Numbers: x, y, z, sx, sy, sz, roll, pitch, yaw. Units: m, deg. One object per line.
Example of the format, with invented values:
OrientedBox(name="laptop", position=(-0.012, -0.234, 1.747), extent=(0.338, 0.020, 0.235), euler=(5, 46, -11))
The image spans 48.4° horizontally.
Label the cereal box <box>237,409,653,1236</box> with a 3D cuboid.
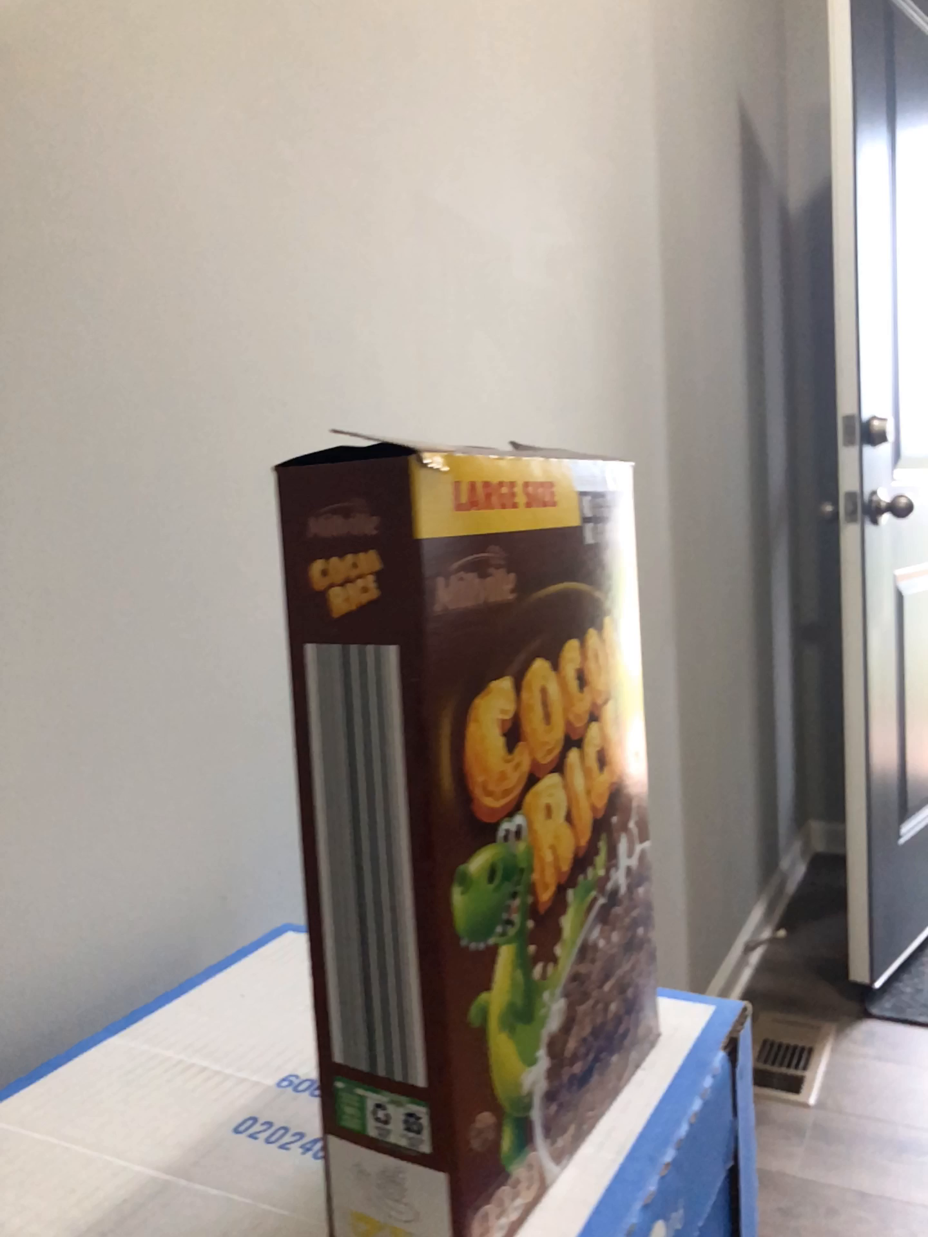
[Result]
OrientedBox(name="cereal box", position=(0.009, 0.071, 0.422), extent=(0.060, 0.290, 0.200), euler=(-1, 5, 30))
